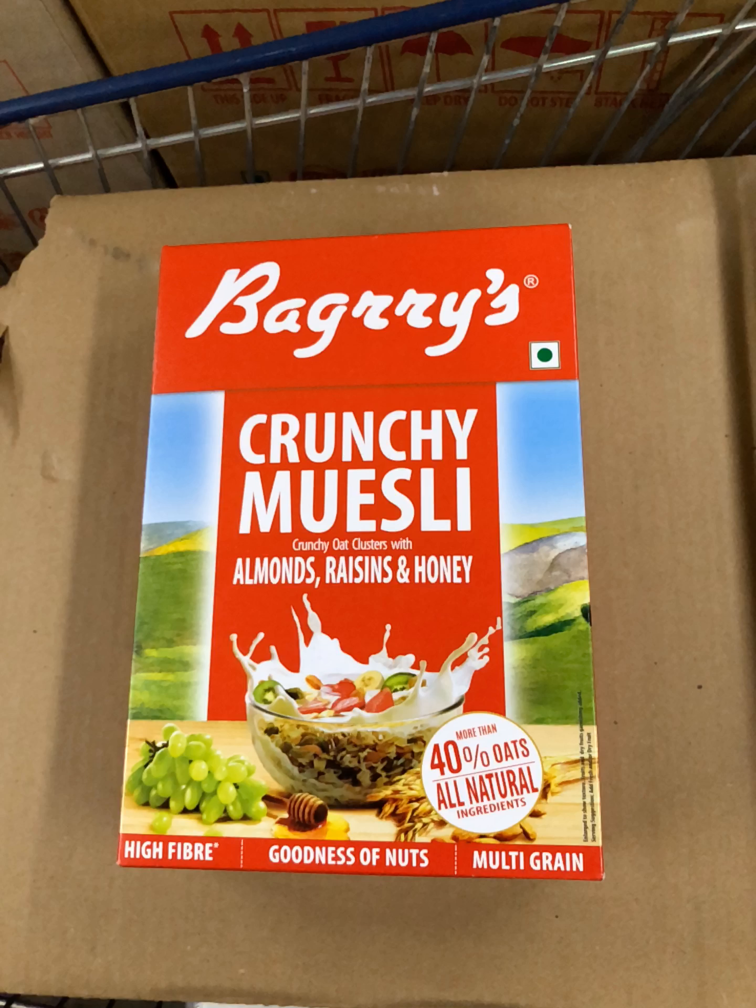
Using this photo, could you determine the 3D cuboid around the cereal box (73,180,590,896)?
[{"bbox_3d":[-0.014,0.010,0.347,0.180,0.070,0.260,-1,78,8],"label":"cereal box"}]
